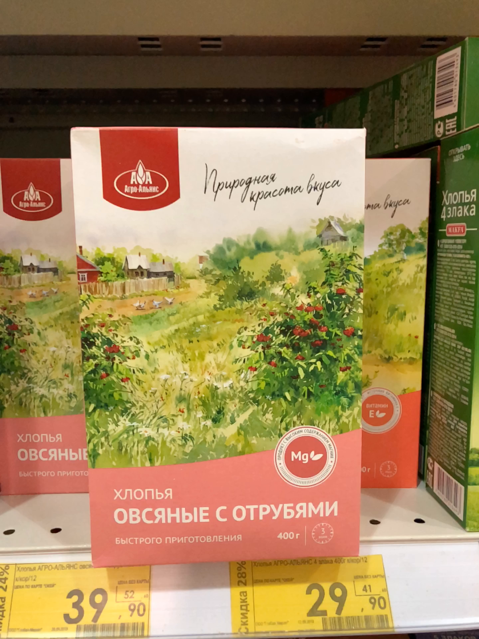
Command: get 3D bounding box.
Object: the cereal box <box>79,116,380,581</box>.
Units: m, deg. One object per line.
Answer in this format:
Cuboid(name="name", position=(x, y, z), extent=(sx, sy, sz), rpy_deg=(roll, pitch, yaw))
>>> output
Cuboid(name="cereal box", position=(-0.004, 0.013, 0.270), extent=(0.130, 0.210, 0.060), rpy_deg=(-1, 7, -3))
